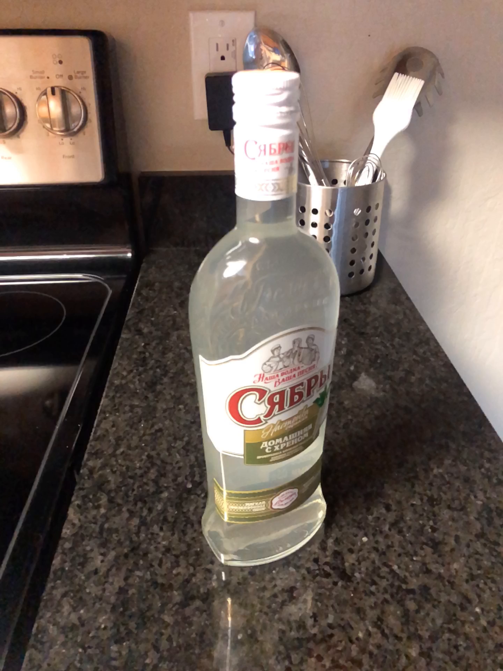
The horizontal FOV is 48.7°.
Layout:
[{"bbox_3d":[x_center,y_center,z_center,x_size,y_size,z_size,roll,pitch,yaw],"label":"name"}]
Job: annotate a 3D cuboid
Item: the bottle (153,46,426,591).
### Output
[{"bbox_3d":[0.014,0.005,0.286,0.090,0.269,0.060,-12,32,-19],"label":"bottle"}]
